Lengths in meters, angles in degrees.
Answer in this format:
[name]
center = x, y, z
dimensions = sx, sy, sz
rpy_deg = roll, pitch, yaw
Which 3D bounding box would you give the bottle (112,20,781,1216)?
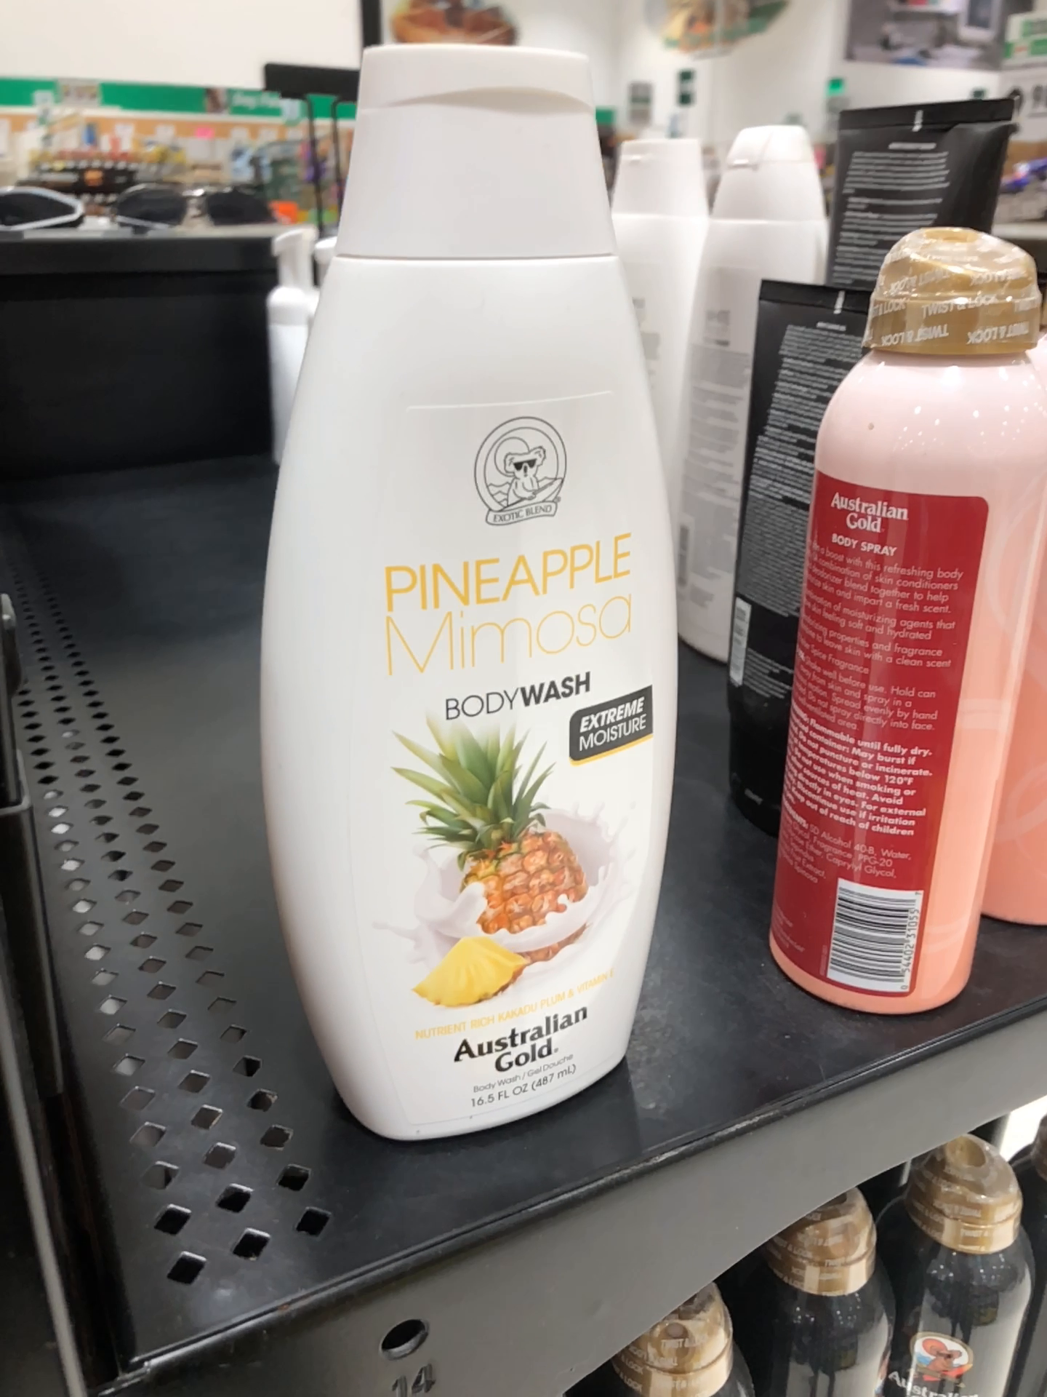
[bottle]
center = -0.015, -0.012, 0.243
dimensions = 0.100, 0.214, 0.060
rpy_deg = -11, 25, -25
